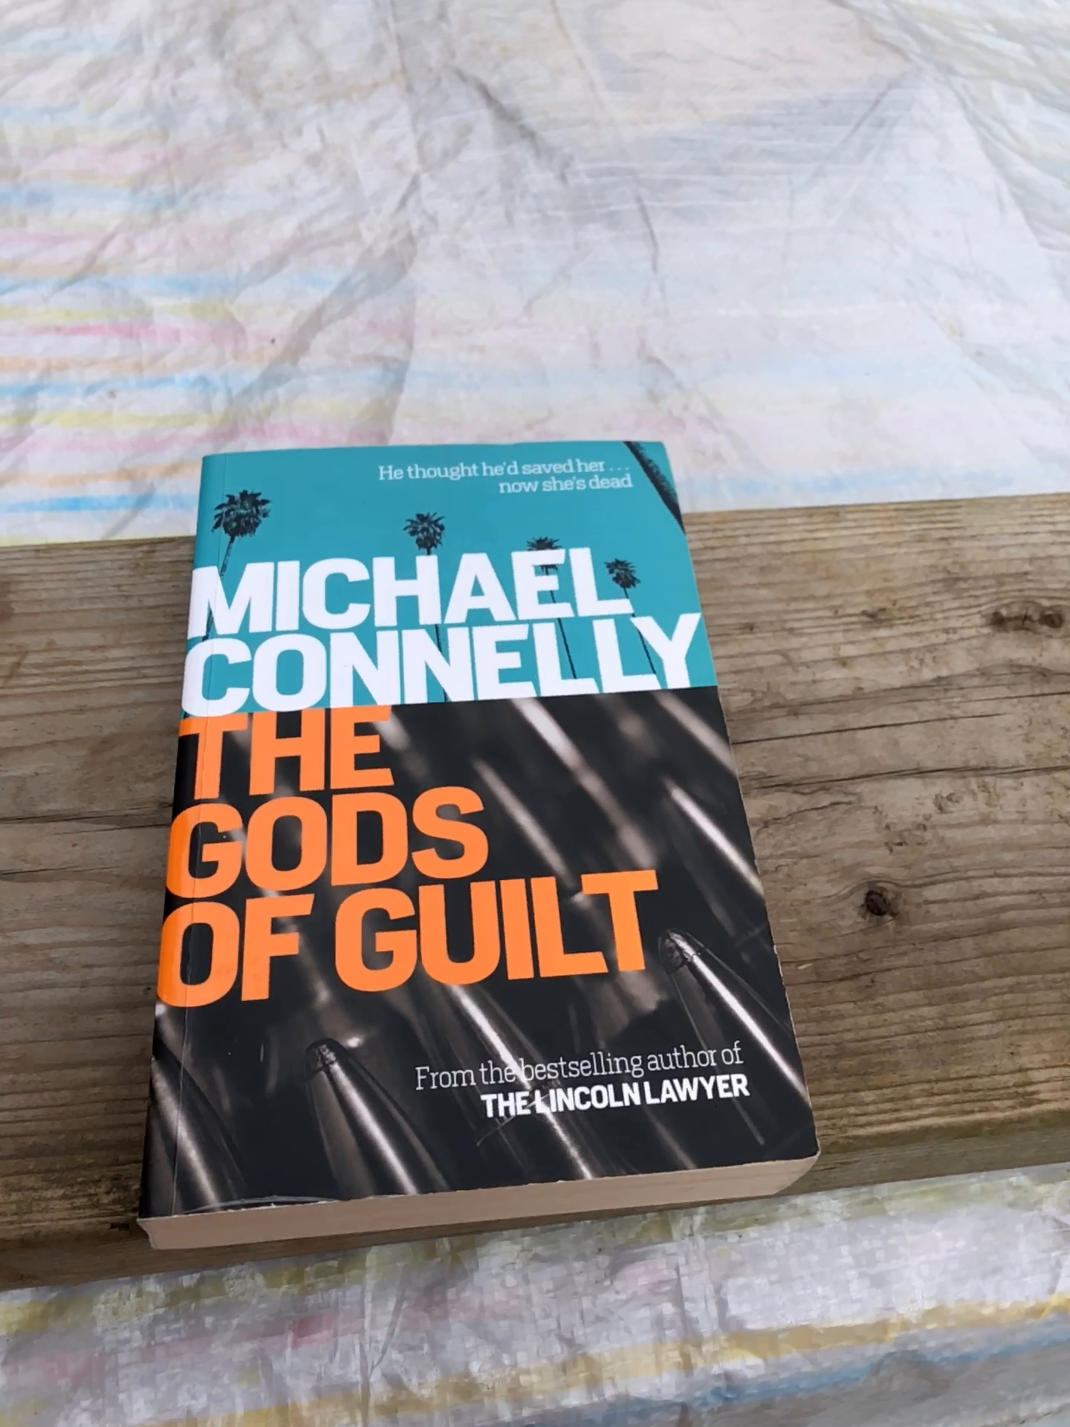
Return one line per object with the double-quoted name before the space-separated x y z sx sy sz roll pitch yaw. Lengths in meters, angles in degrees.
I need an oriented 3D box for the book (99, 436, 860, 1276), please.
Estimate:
"book" -0.019 0.018 0.291 0.140 0.040 0.201 -3 55 -6
